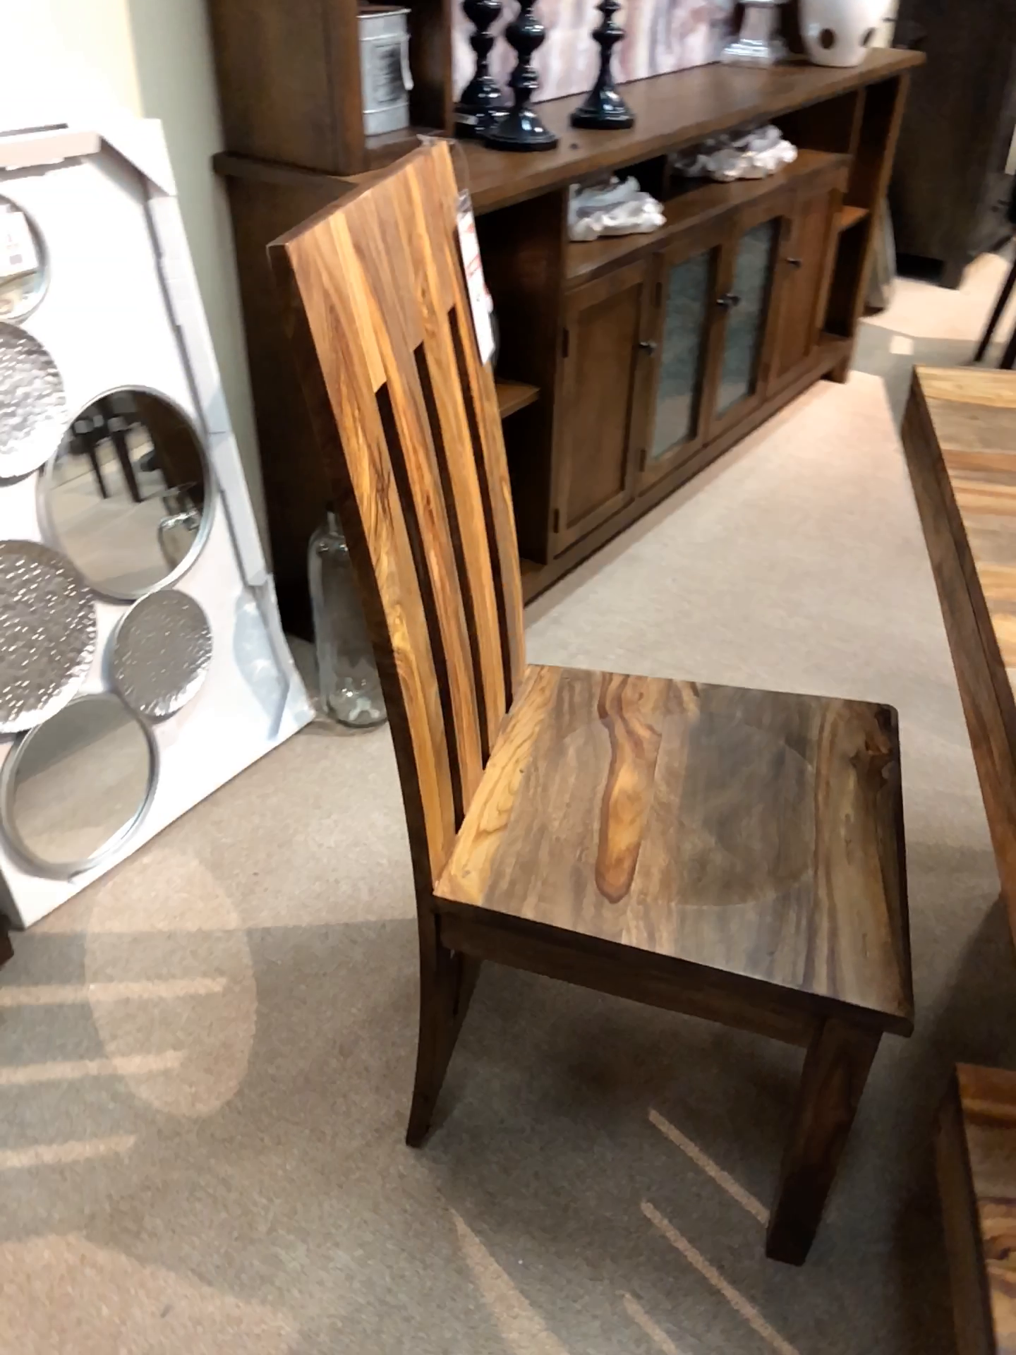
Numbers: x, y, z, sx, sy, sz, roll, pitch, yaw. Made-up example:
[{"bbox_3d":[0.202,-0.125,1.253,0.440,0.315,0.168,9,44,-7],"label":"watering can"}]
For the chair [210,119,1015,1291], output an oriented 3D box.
[{"bbox_3d":[0.147,0.050,1.147,0.590,1.023,0.513,9,36,10],"label":"chair"}]
